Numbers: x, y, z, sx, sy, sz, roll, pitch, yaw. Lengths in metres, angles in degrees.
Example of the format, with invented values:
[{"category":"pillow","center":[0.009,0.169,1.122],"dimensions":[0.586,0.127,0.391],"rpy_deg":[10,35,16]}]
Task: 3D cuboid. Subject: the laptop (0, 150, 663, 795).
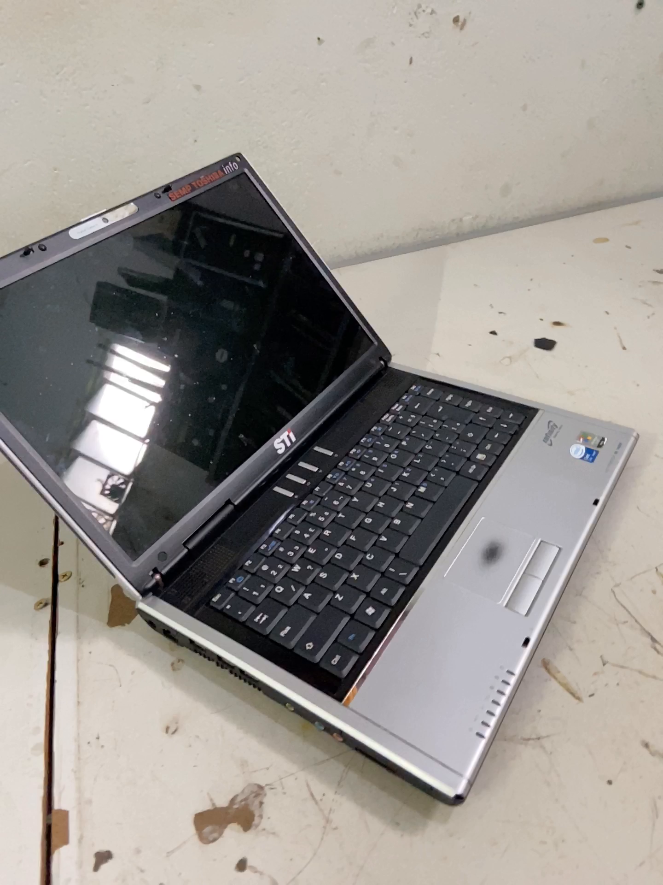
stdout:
[{"category":"laptop","center":[-0.018,-0.044,0.471],"dimensions":[0.386,0.167,0.326],"rpy_deg":[21,45,27]}]
